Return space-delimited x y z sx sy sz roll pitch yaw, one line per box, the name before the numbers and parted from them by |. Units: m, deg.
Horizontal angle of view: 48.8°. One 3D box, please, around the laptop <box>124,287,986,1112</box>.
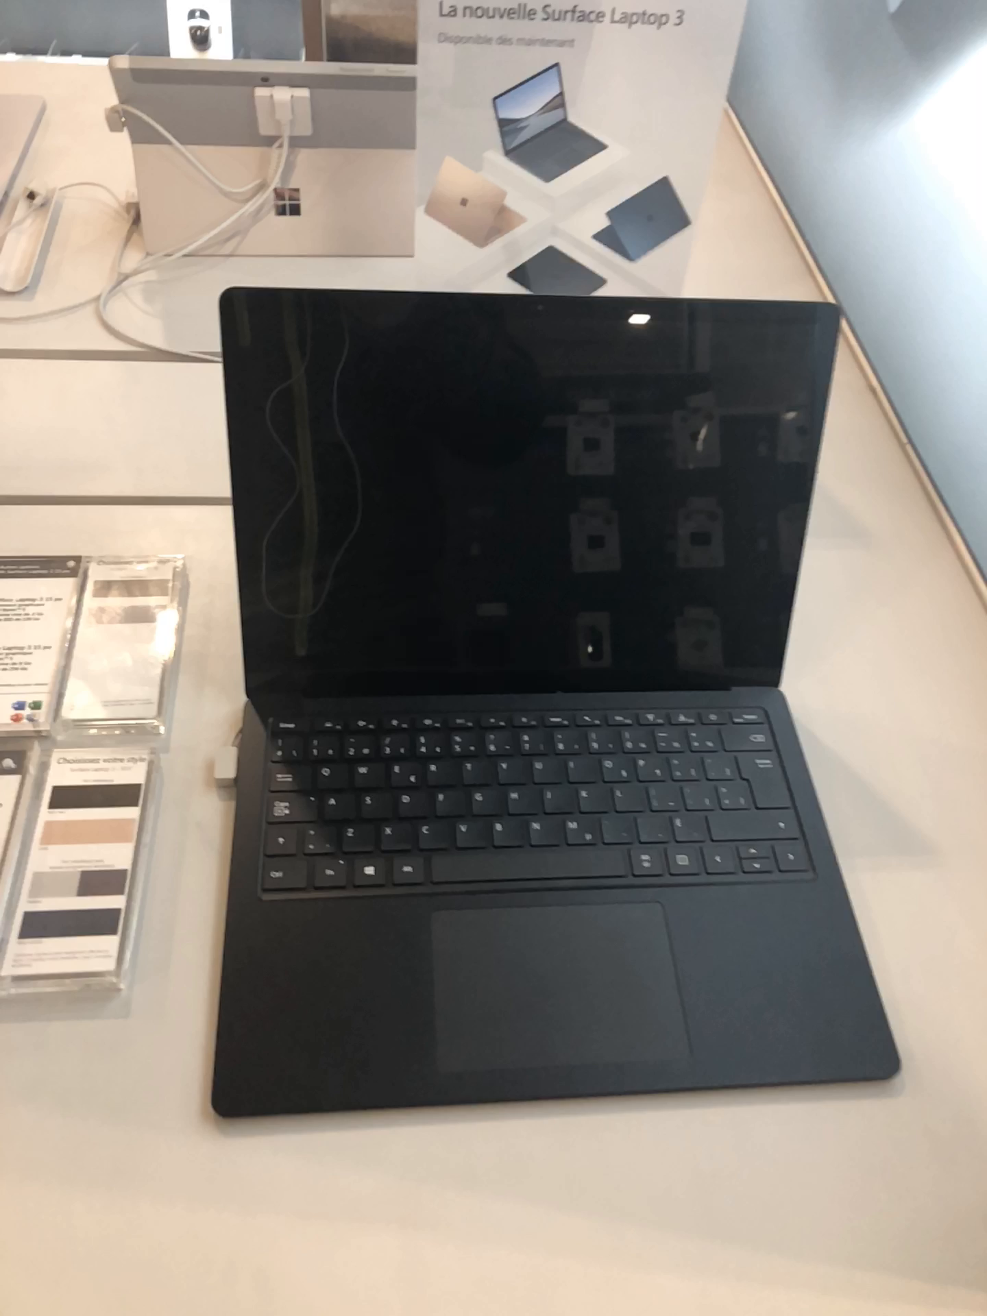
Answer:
laptop | 0.027 0.005 0.505 0.308 0.197 0.314 -1 49 -7
